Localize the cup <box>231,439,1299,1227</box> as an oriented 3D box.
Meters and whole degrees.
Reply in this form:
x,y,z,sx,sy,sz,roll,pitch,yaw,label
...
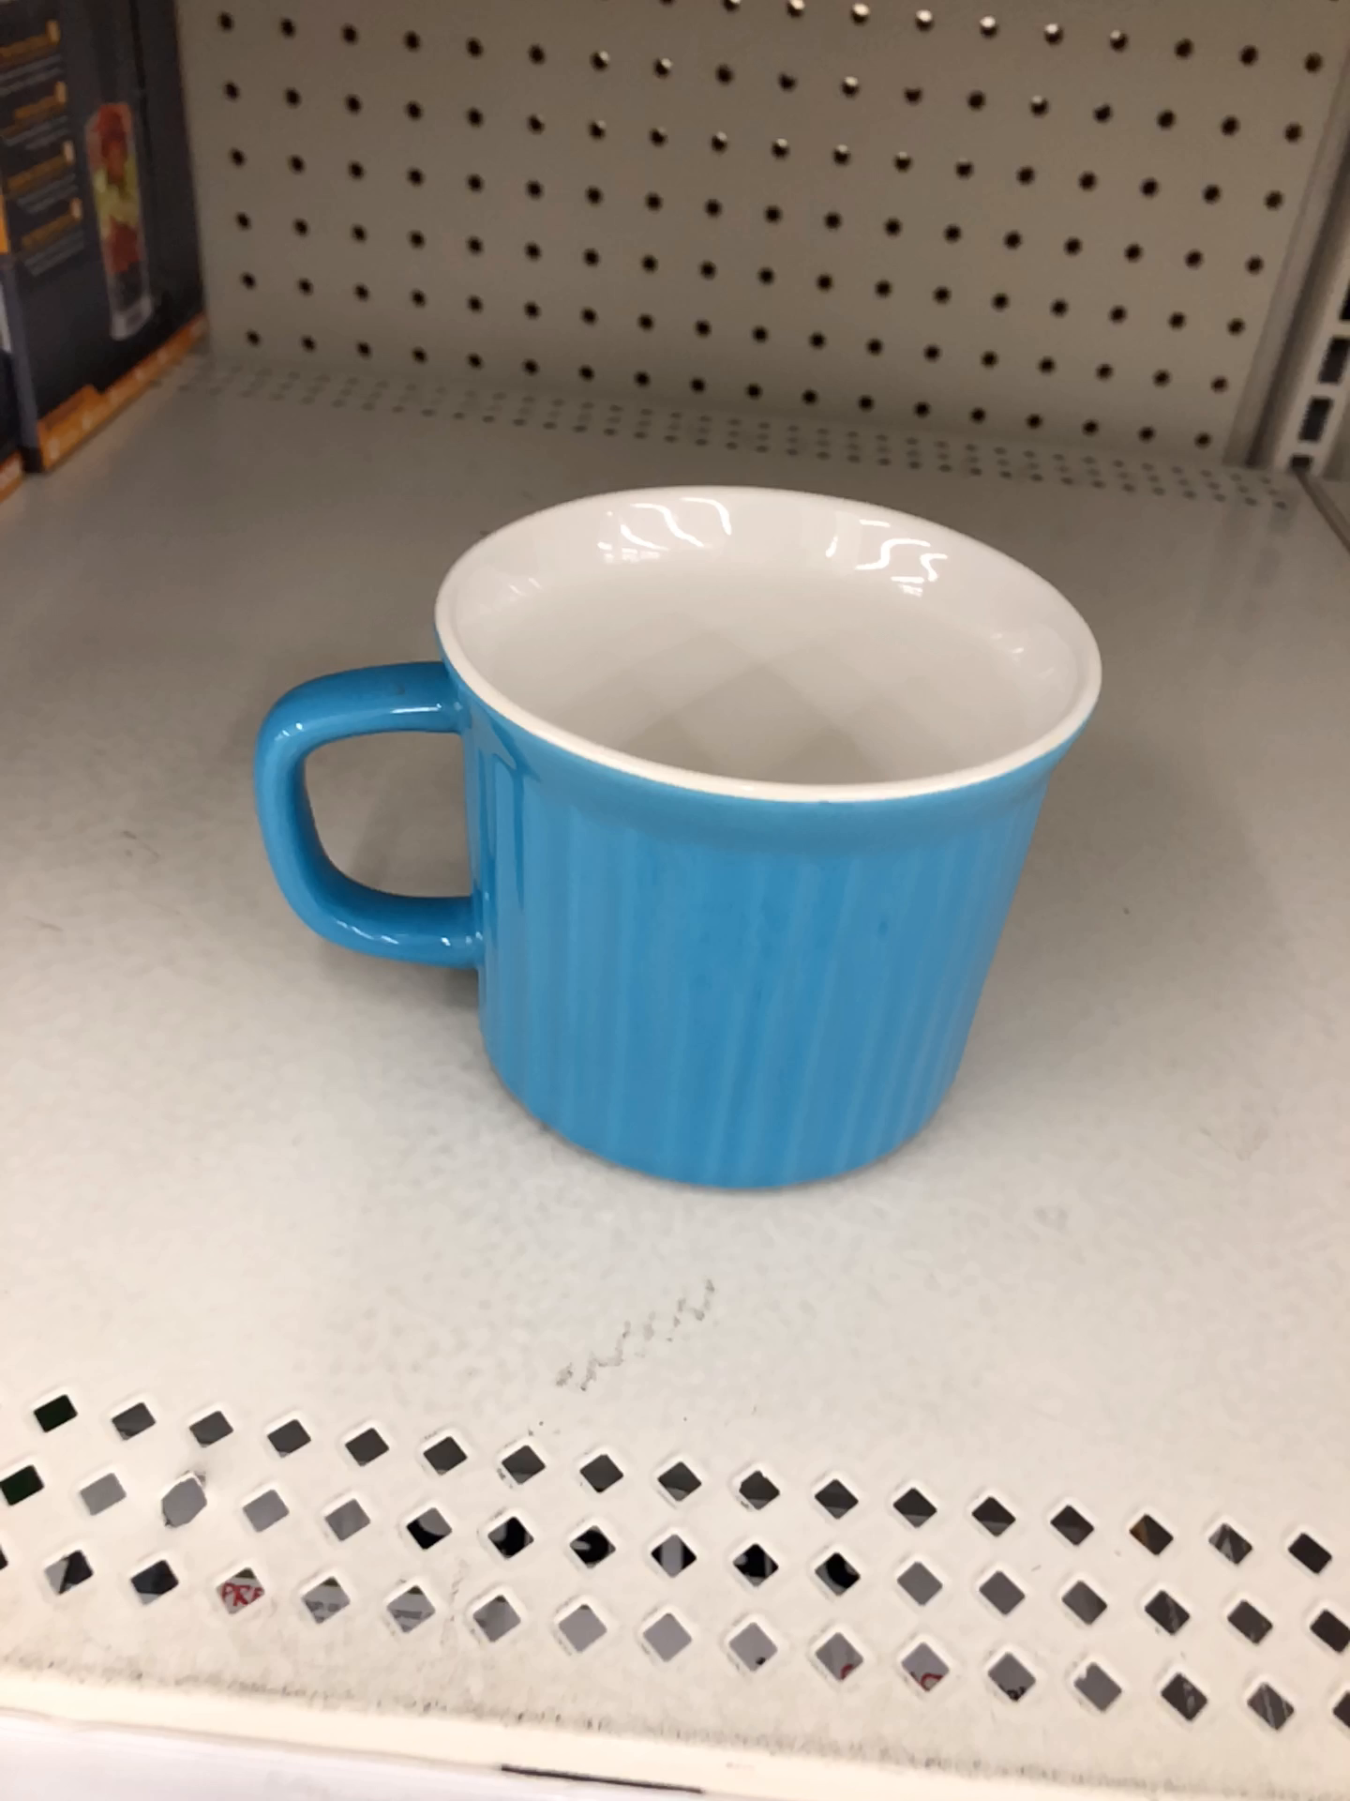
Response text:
x,y,z,sx,sy,sz,roll,pitch,yaw,label
0.005,-0.021,0.298,0.161,0.093,0.126,-2,37,-9,cup
